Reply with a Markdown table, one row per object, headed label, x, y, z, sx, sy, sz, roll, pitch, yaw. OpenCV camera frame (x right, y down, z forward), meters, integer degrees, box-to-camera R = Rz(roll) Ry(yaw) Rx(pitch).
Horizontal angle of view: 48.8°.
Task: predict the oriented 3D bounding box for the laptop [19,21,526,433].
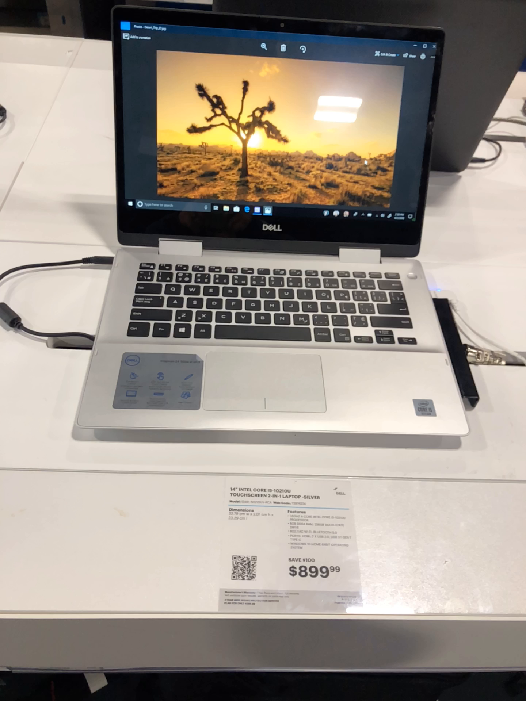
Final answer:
| label | x | y | z | sx | sy | sz | roll | pitch | yaw |
| --- | --- | --- | --- | --- | --- | --- | --- | --- | --- |
| laptop | 0.012 | -0.123 | 0.508 | 0.311 | 0.195 | 0.328 | 2 | 47 | -2 |
